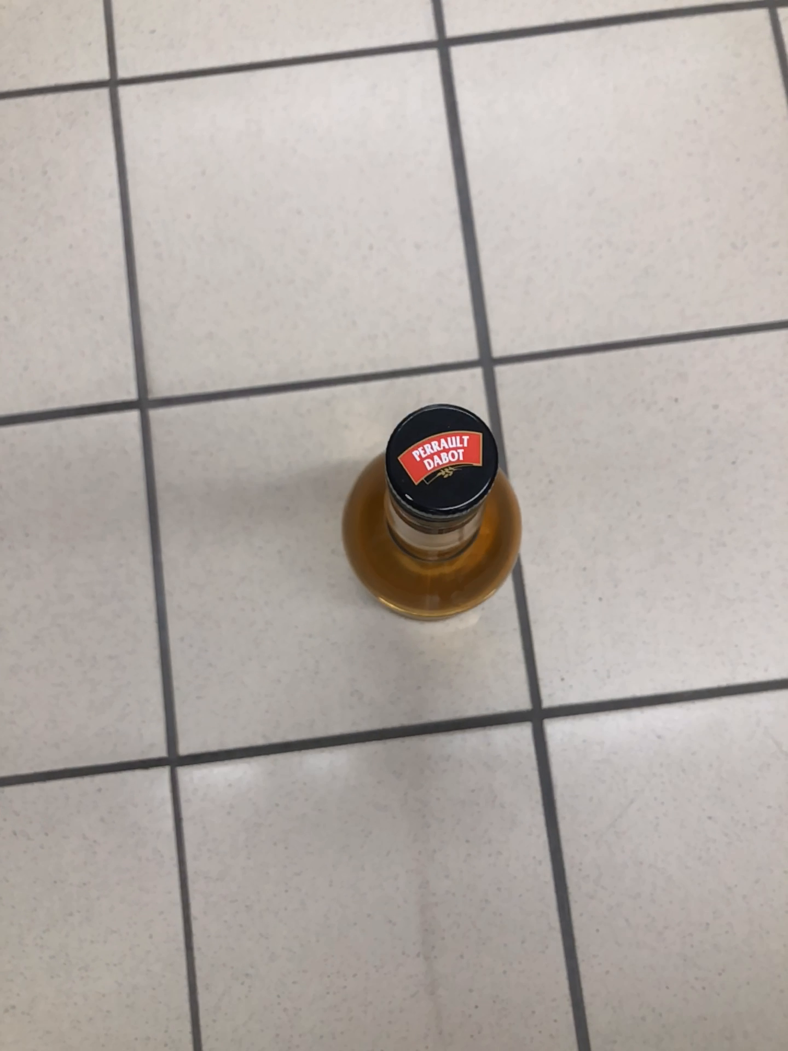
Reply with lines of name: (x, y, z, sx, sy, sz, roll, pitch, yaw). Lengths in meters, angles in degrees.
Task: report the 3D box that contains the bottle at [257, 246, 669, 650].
bottle: (0.021, -0.006, 0.365, 0.080, 0.250, 0.080, 0, 82, 1)
